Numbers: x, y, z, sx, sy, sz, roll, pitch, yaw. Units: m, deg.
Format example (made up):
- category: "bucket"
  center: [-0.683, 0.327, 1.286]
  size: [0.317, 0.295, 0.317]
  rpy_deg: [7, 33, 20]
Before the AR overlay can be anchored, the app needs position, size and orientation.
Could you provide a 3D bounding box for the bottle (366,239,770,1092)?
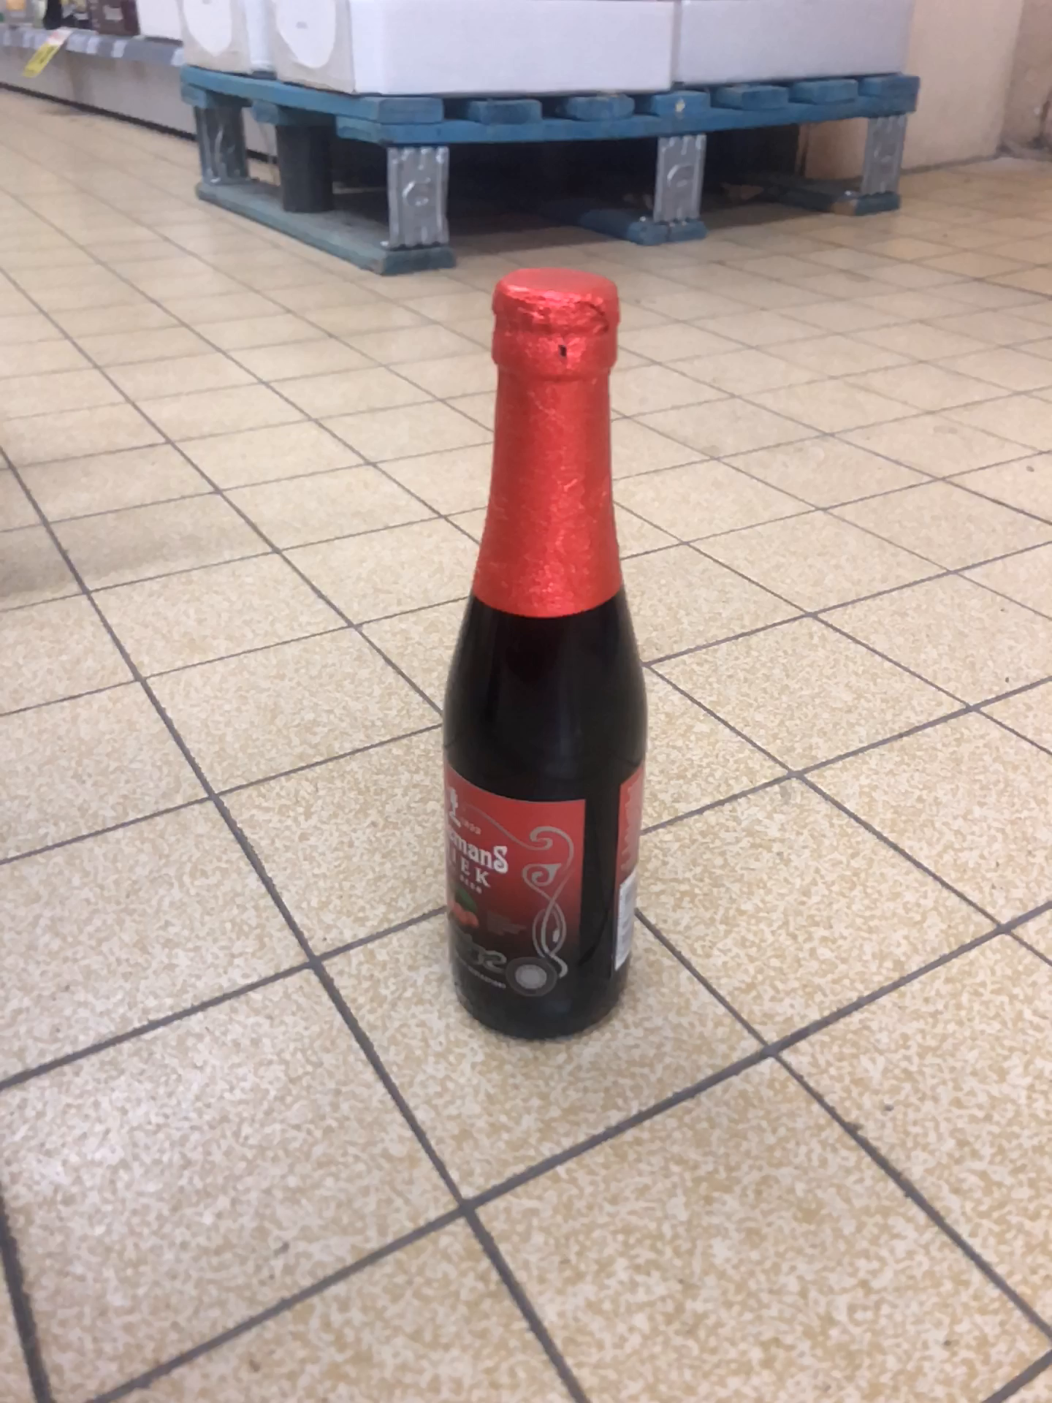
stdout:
- category: "bottle"
  center: [0.006, -0.004, 0.292]
  size: [0.060, 0.199, 0.060]
  rpy_deg: [1, 31, 0]
